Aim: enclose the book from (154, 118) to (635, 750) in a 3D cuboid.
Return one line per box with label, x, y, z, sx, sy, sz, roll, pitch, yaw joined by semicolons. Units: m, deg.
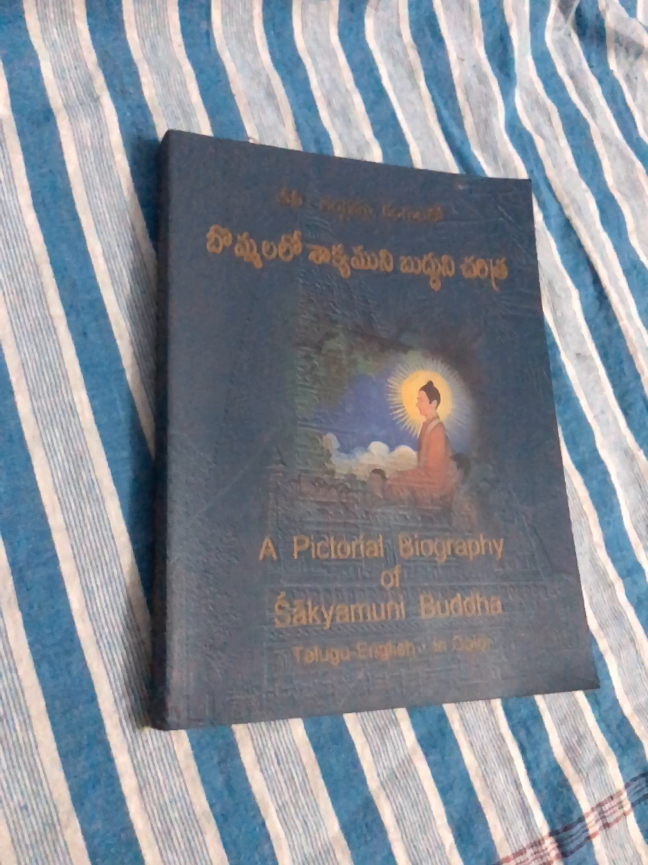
book;0.023;-0.008;0.277;0.171;0.020;0.220;2;73;-18
